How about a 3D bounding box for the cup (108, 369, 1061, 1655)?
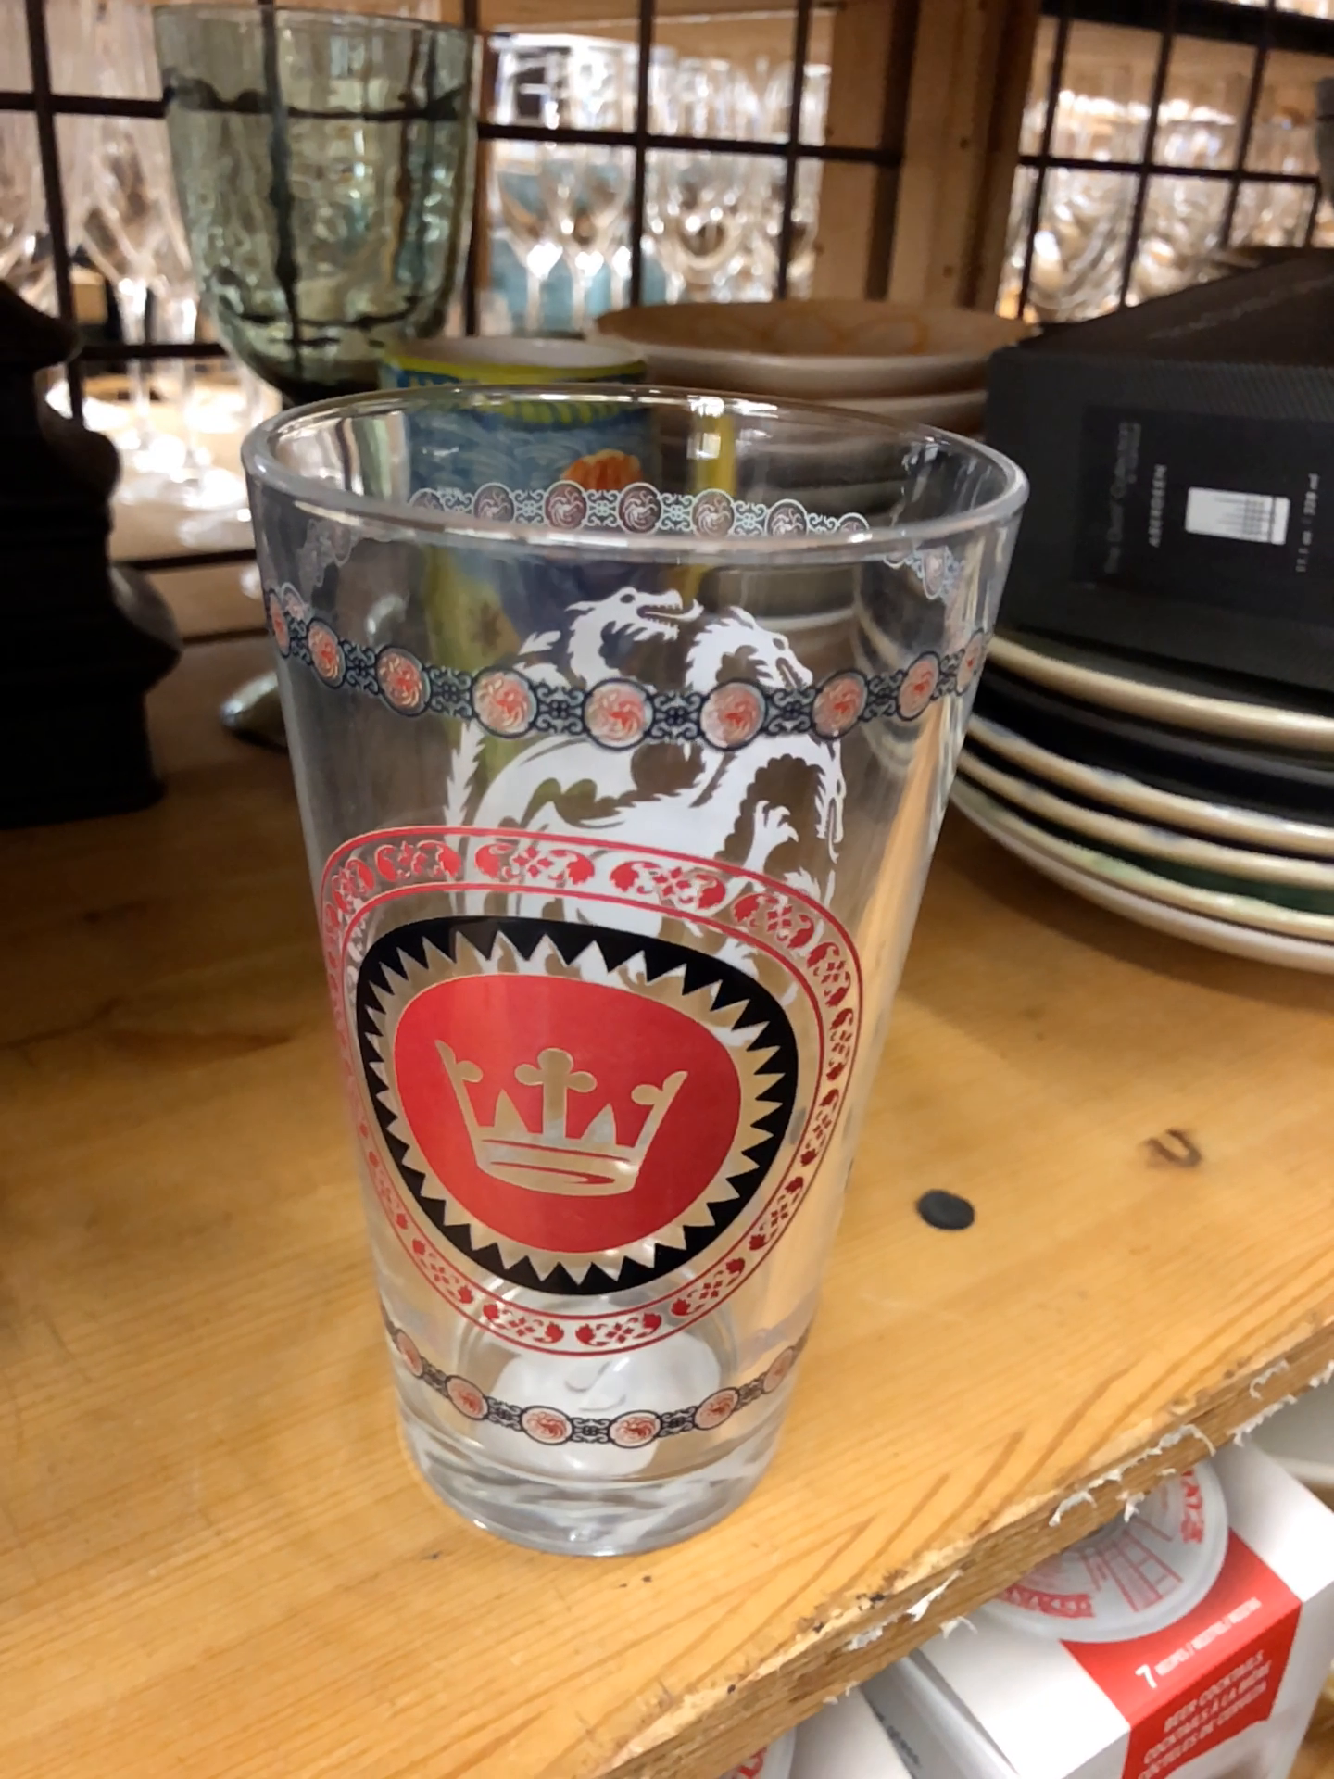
[{"bbox_3d":[-0.005,0.010,0.195,0.085,0.132,0.084,3,26,-1],"label":"cup"}]
